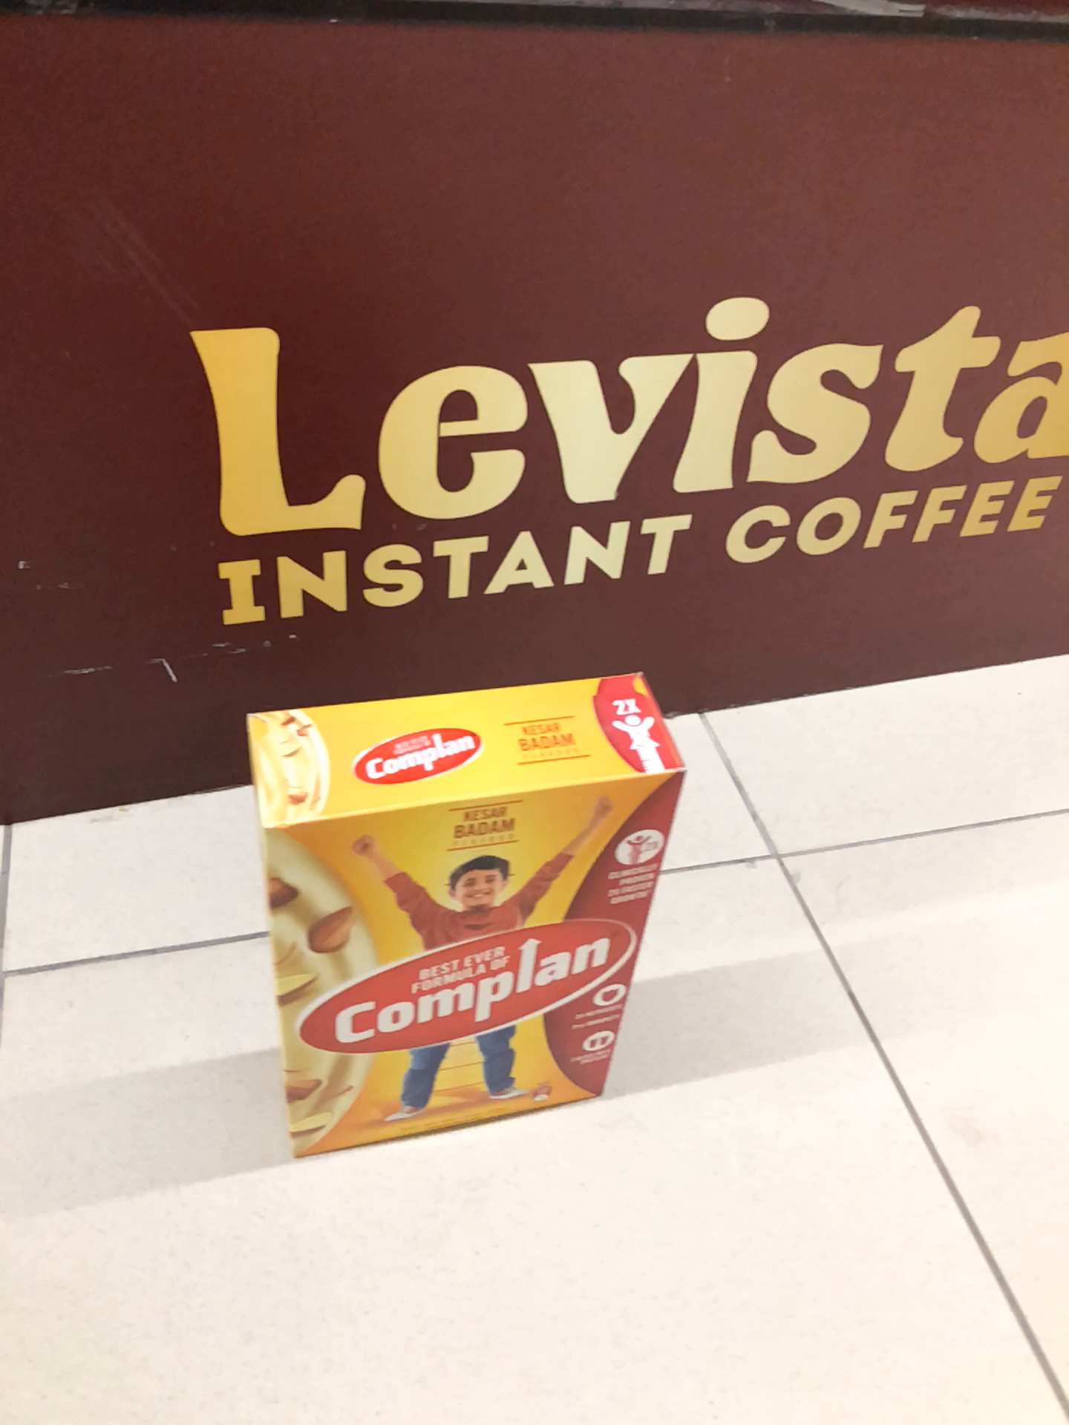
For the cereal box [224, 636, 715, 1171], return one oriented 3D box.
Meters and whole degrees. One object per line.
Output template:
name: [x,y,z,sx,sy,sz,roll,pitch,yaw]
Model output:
cereal box: [-0.031,0.082,0.456,0.150,0.219,0.060,-7,44,-15]
